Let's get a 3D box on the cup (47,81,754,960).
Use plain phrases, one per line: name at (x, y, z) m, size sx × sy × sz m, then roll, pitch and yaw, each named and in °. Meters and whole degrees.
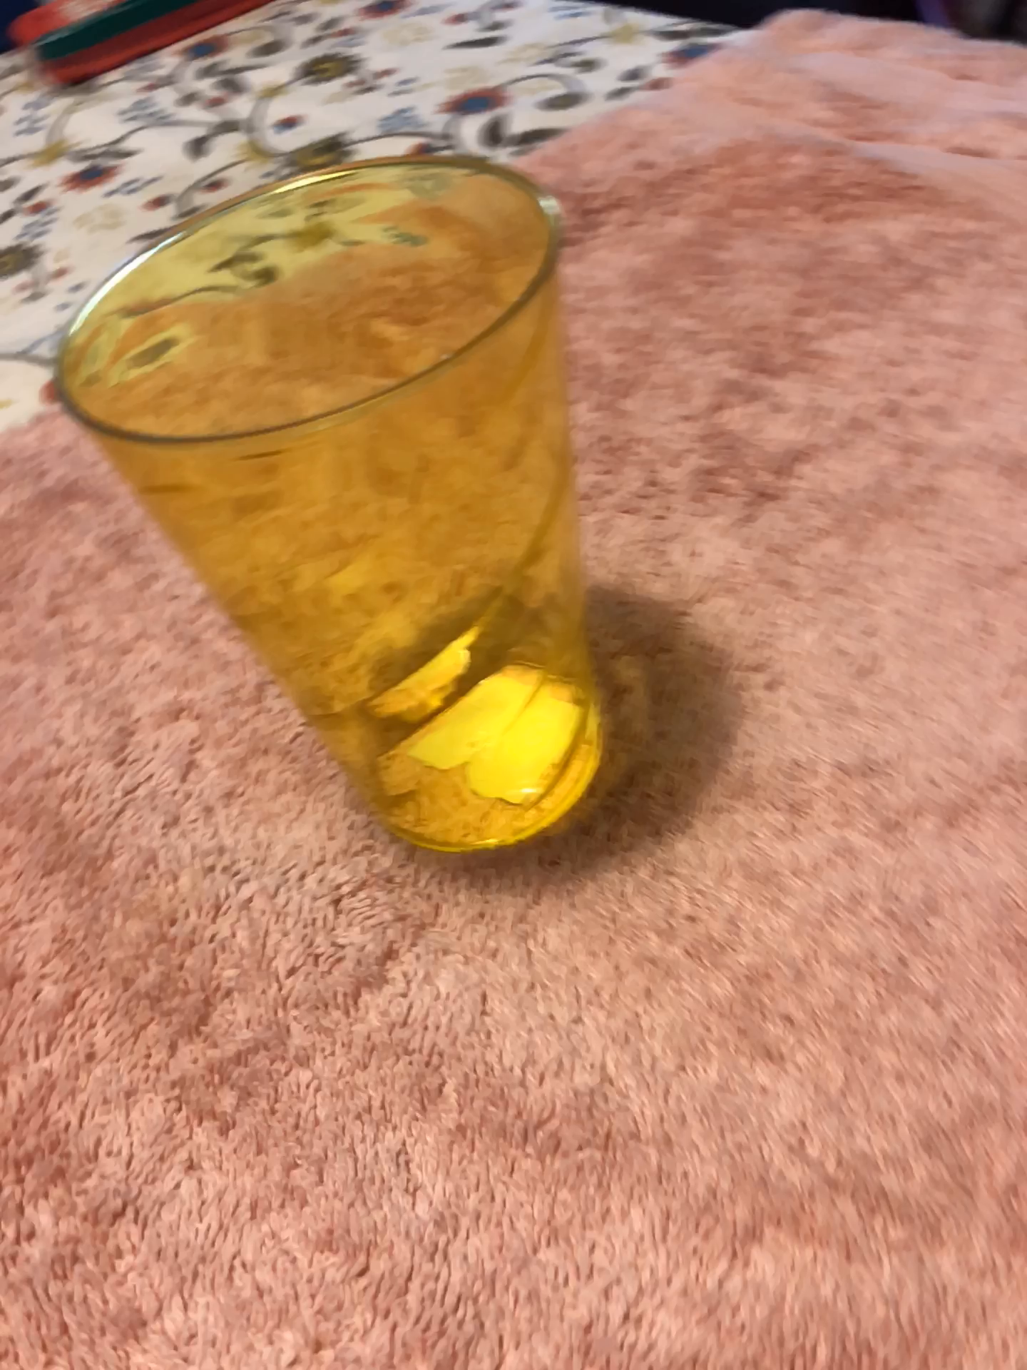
cup at (-0.013, -0.027, 0.217) m, size 0.080 × 0.119 × 0.080 m, roll -7°, pitch 49°, yaw 8°
